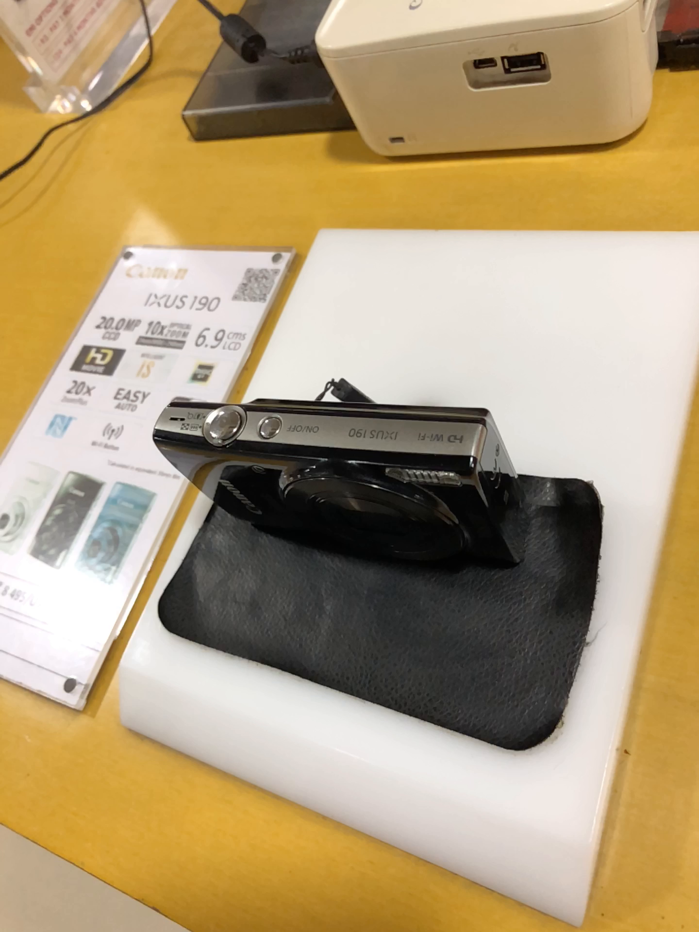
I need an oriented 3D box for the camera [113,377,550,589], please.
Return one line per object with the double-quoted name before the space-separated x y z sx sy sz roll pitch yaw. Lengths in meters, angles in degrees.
"camera" -0.004 0.003 0.207 0.100 0.050 0.030 4 63 26
